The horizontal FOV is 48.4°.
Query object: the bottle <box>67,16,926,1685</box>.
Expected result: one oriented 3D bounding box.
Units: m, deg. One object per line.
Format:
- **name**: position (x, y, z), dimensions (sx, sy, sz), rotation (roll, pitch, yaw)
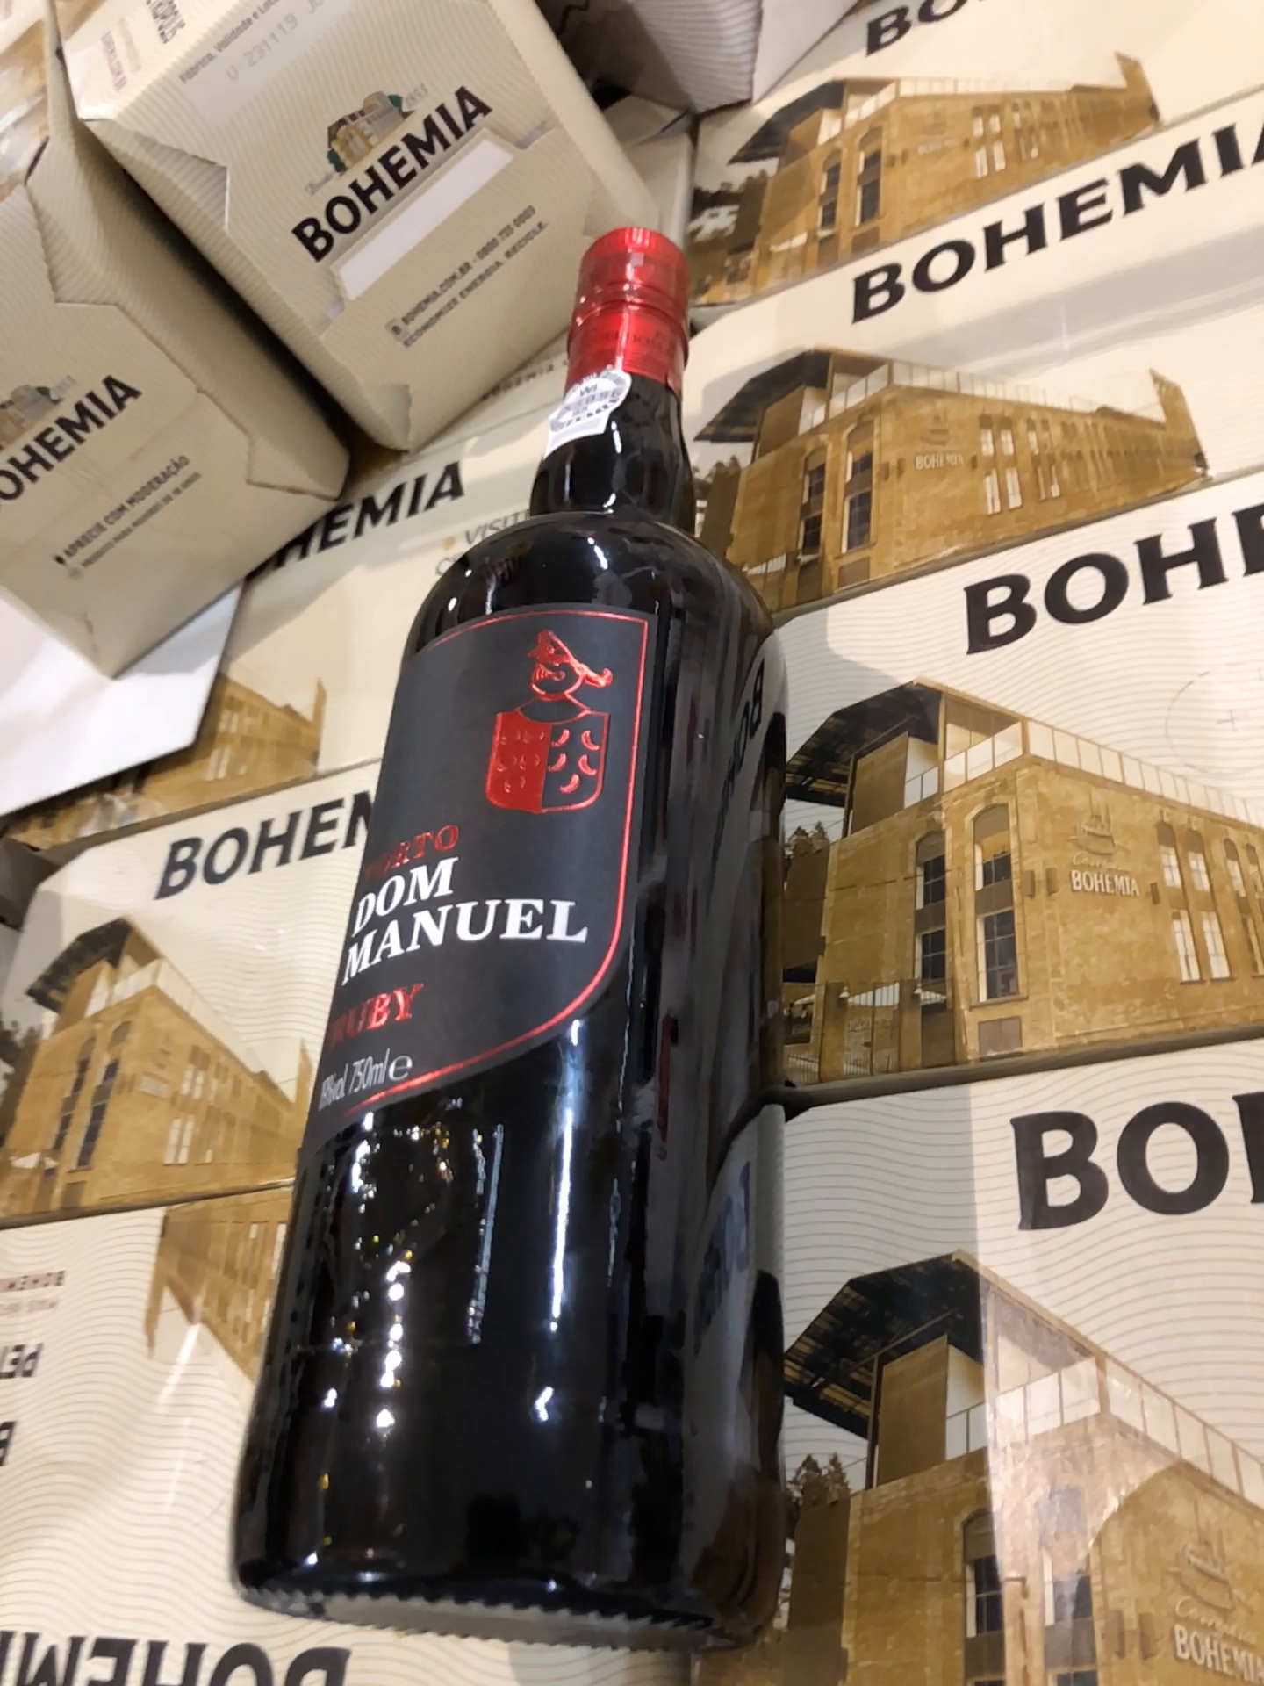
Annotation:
- **bottle**: position (-0.005, -0.022, 0.272), dimensions (0.090, 0.070, 0.331), rotation (-10, 55, 21)
